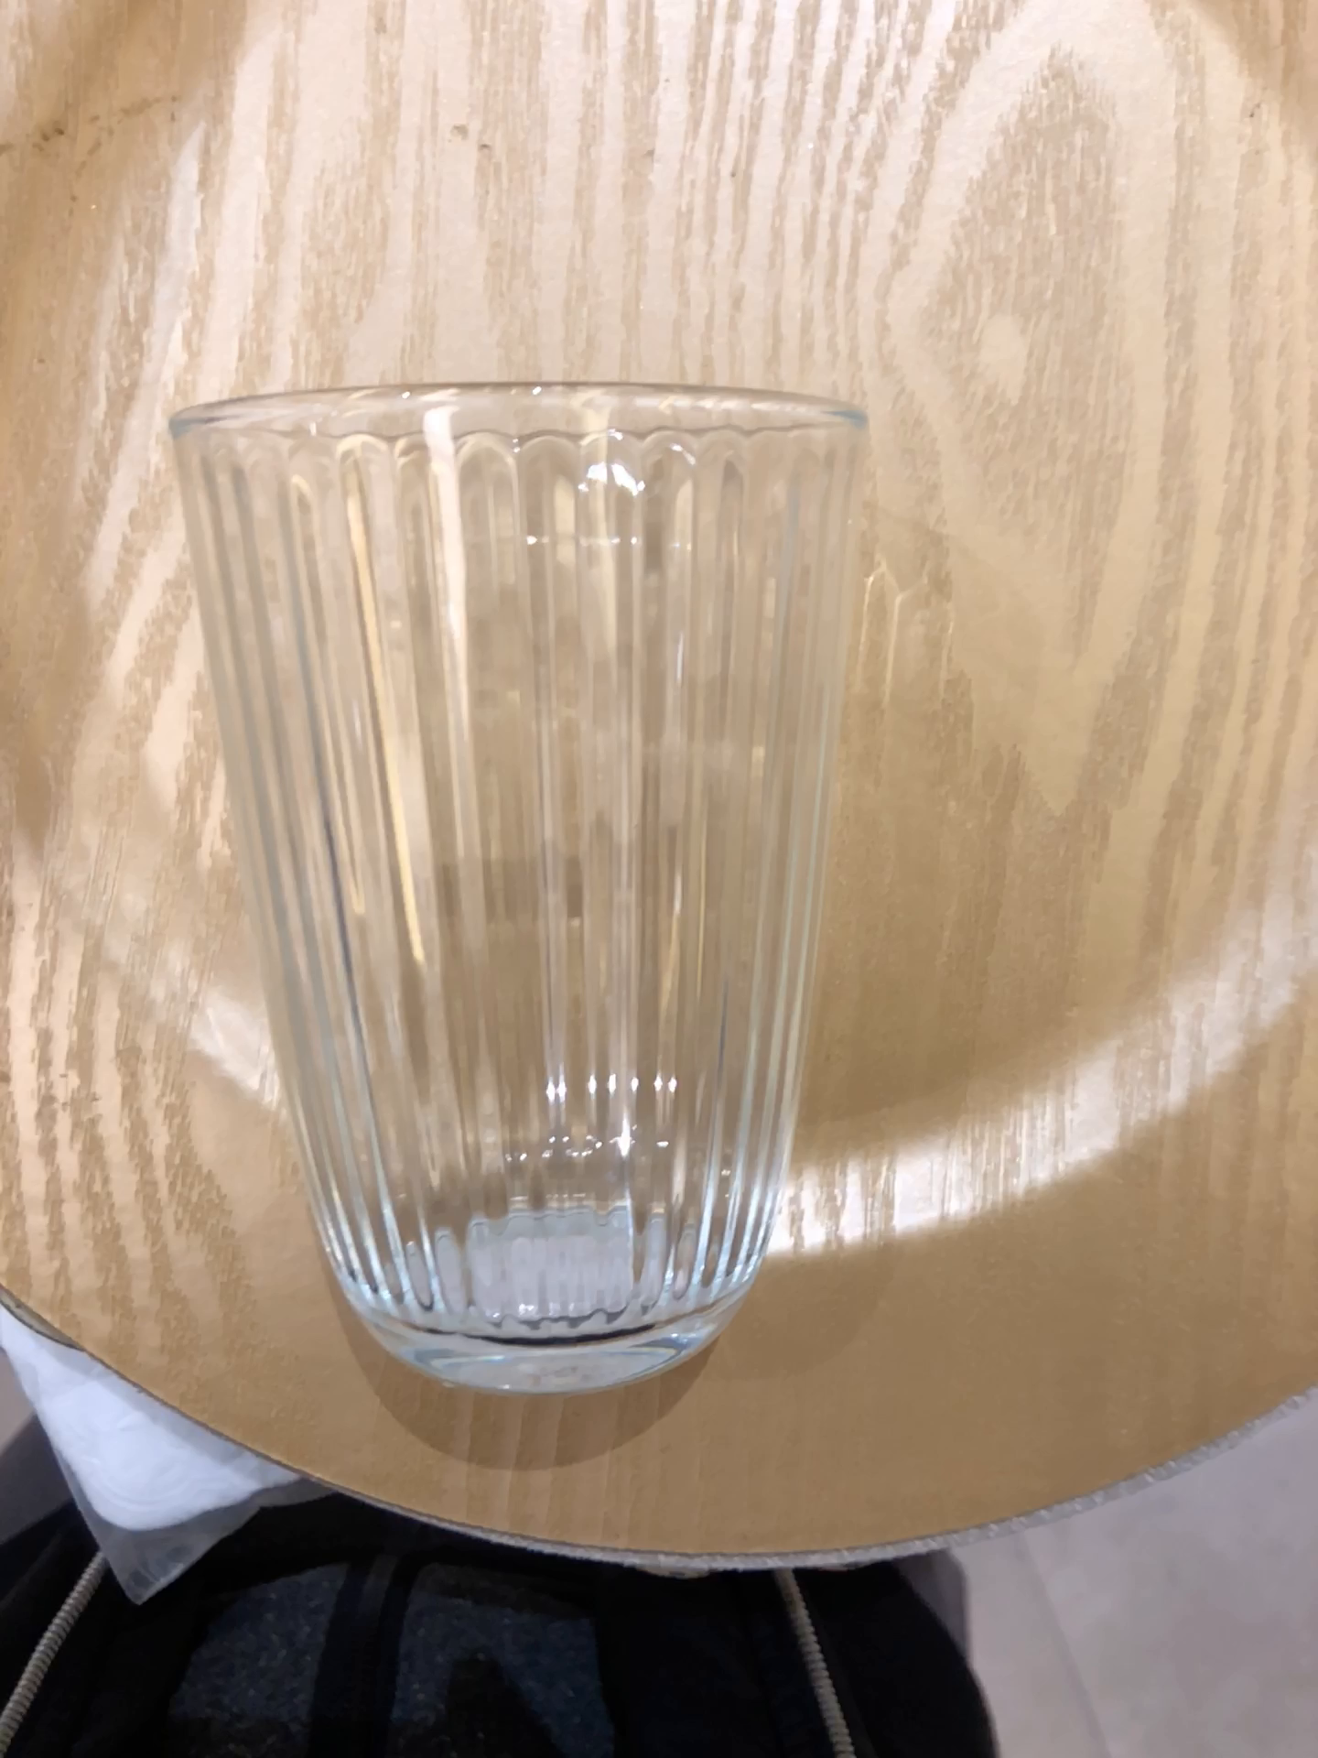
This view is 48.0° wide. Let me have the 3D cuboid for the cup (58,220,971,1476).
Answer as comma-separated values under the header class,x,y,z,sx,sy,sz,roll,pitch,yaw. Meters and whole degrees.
class,x,y,z,sx,sy,sz,roll,pitch,yaw
cup,-0.013,-0.004,0.192,0.090,0.070,0.130,-2,97,0
